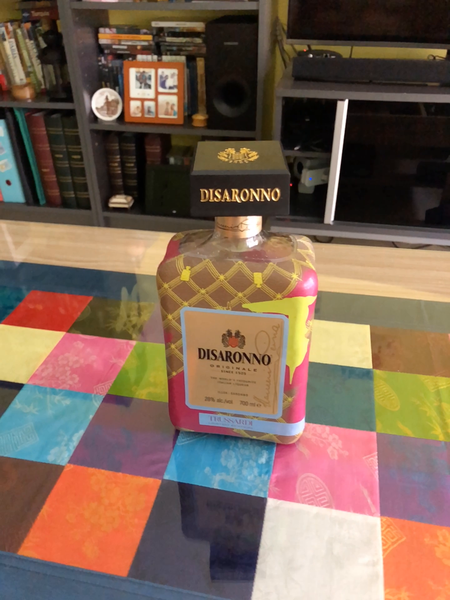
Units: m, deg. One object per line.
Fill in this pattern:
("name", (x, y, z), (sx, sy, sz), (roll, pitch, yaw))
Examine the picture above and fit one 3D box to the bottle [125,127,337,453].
("bottle", (0.010, 0.000, 0.376), (0.120, 0.229, 0.080), (5, 34, 8))
